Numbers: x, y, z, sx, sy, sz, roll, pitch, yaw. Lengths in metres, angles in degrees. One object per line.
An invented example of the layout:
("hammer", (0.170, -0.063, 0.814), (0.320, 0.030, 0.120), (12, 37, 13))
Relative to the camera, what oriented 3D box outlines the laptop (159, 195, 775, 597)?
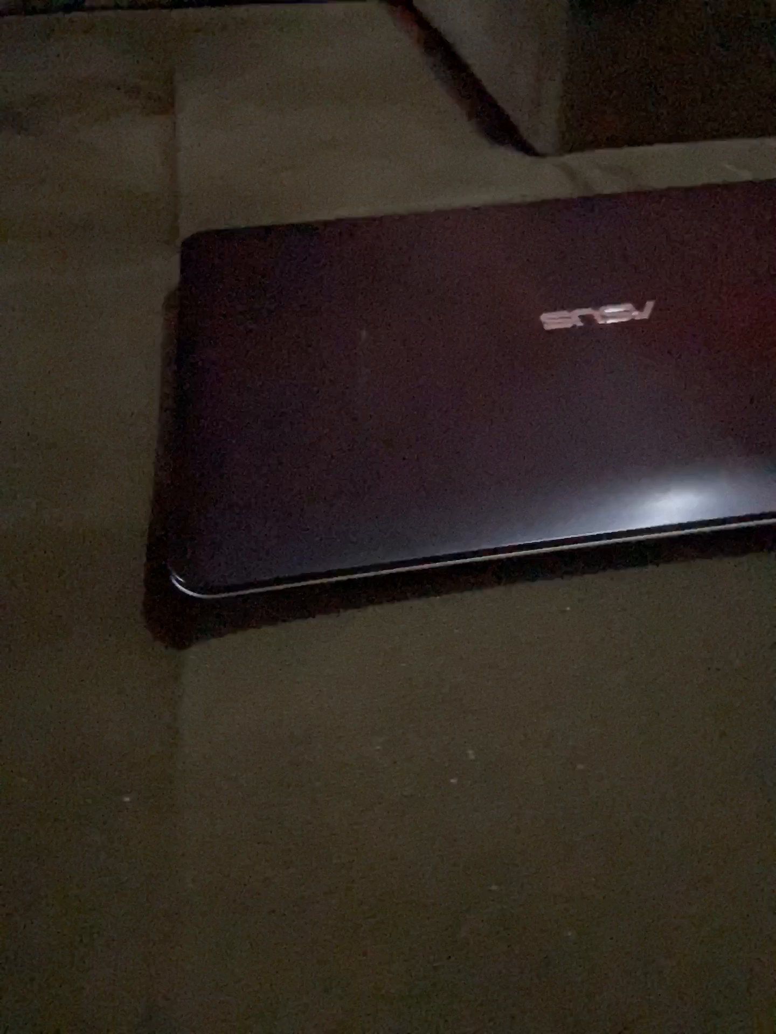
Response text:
("laptop", (0.091, -0.079, 0.356), (0.369, 0.004, 0.235), (-7, 45, -6))
